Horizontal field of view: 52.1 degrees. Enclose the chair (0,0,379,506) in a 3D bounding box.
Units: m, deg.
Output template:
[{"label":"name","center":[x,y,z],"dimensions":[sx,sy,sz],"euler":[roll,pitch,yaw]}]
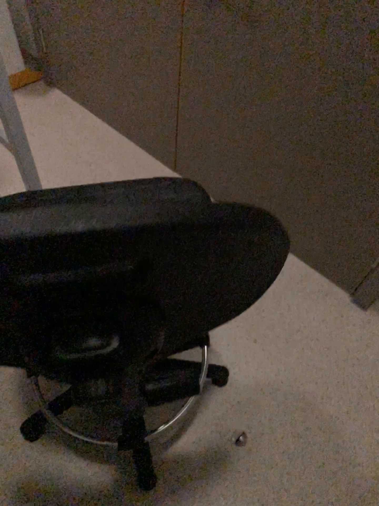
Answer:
[{"label":"chair","center":[-0.131,0.015,0.721],"dimensions":[0.620,0.933,0.675],"euler":[-7,54,-10]}]
